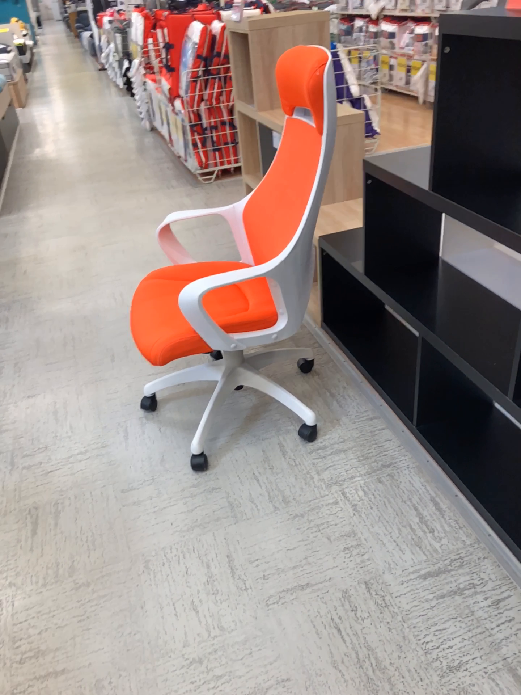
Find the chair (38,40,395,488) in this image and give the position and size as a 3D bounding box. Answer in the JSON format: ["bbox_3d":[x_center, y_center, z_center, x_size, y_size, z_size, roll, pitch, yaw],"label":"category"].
[{"bbox_3d":[-0.104,-0.283,1.729,0.751,1.054,0.683,-12,32,-9],"label":"chair"}]
